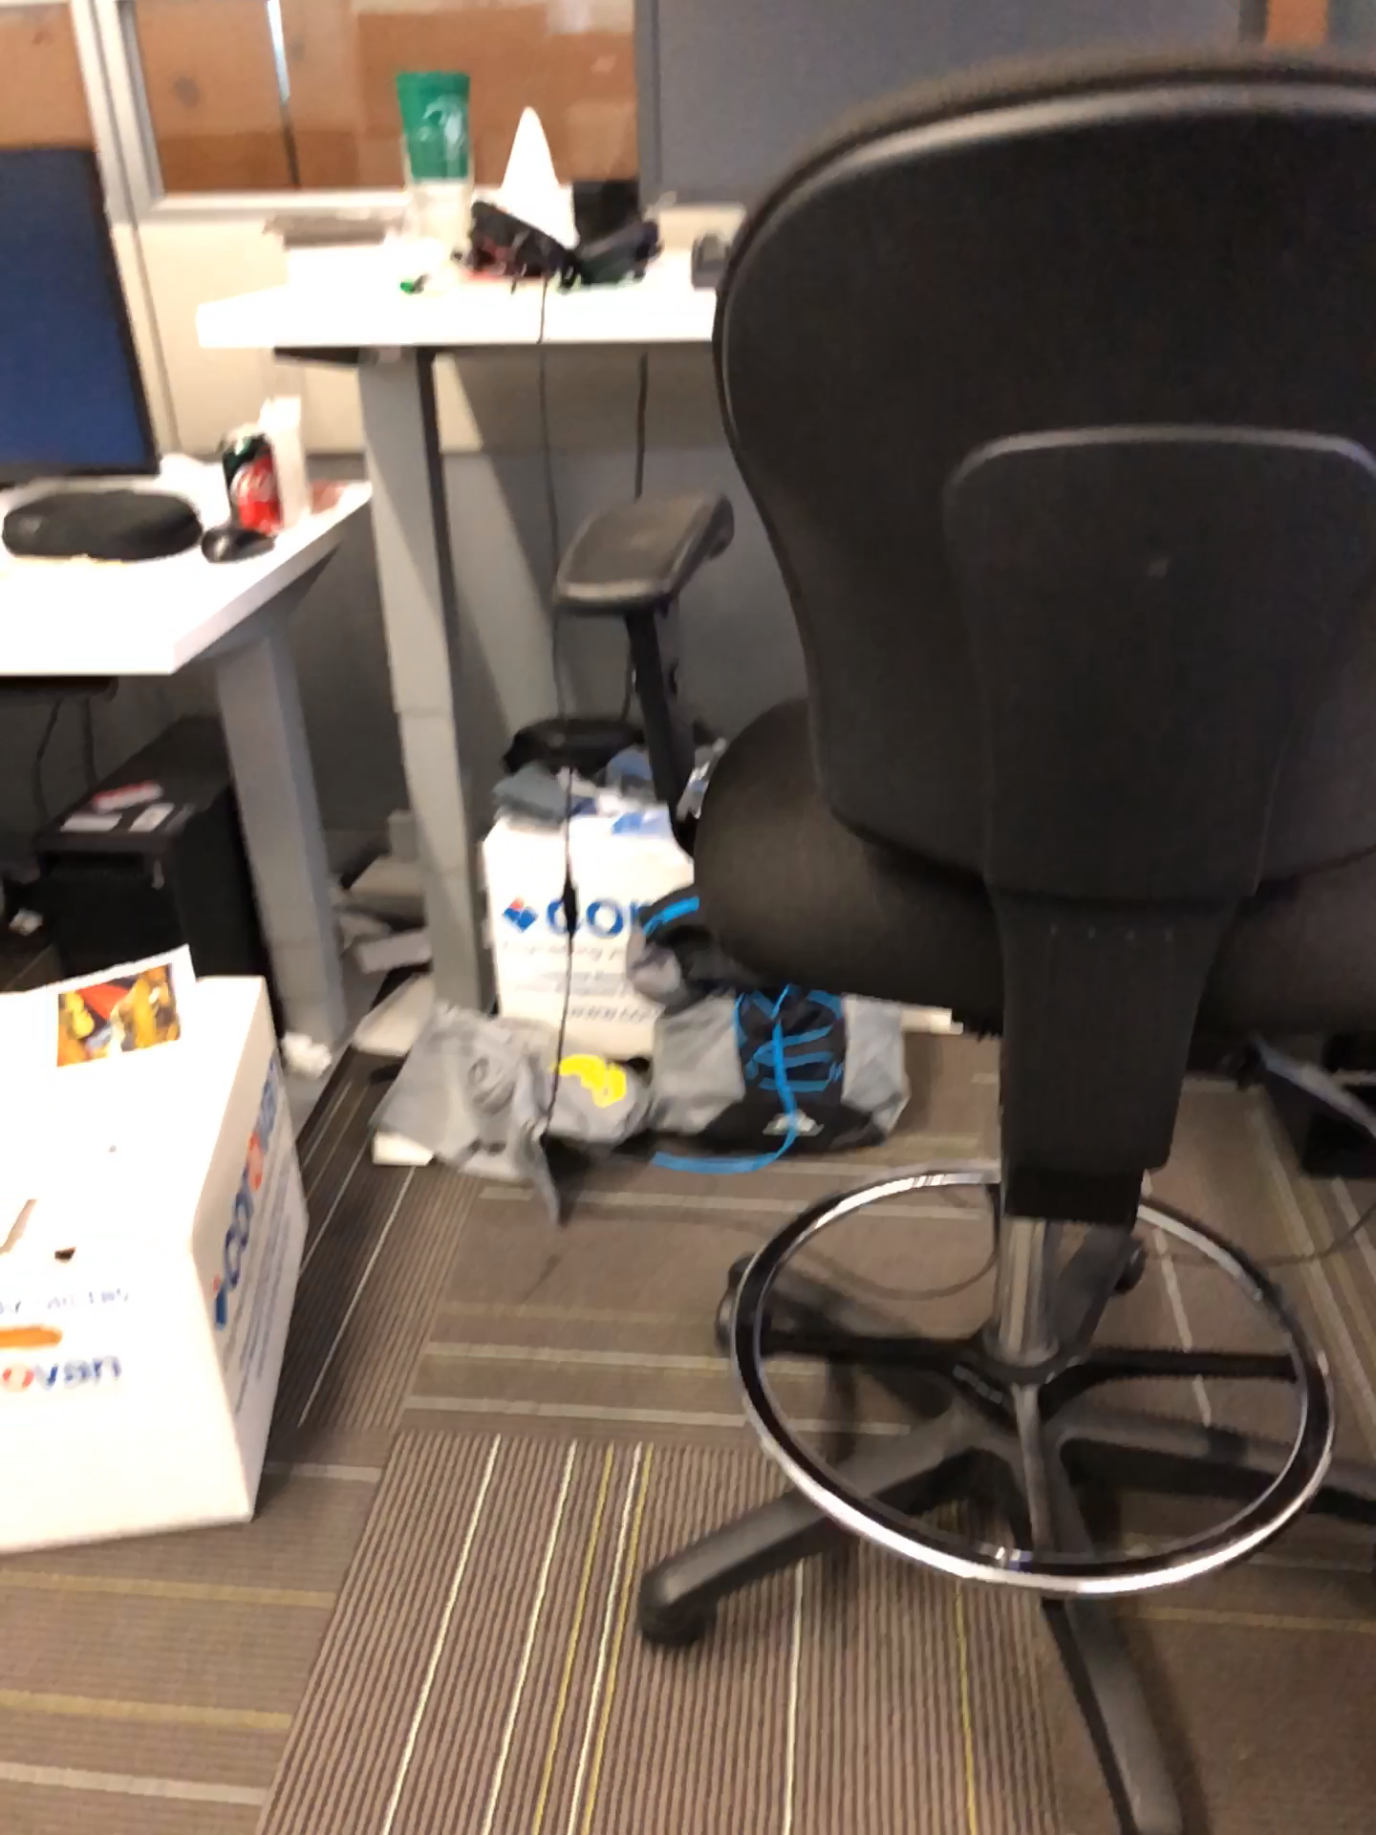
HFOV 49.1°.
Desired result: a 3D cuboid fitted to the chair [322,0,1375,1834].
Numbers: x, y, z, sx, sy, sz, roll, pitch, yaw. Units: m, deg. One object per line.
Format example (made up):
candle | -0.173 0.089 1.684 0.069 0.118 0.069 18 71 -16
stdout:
chair | 0.267 0.019 1.077 0.640 1.134 0.734 3 27 10
